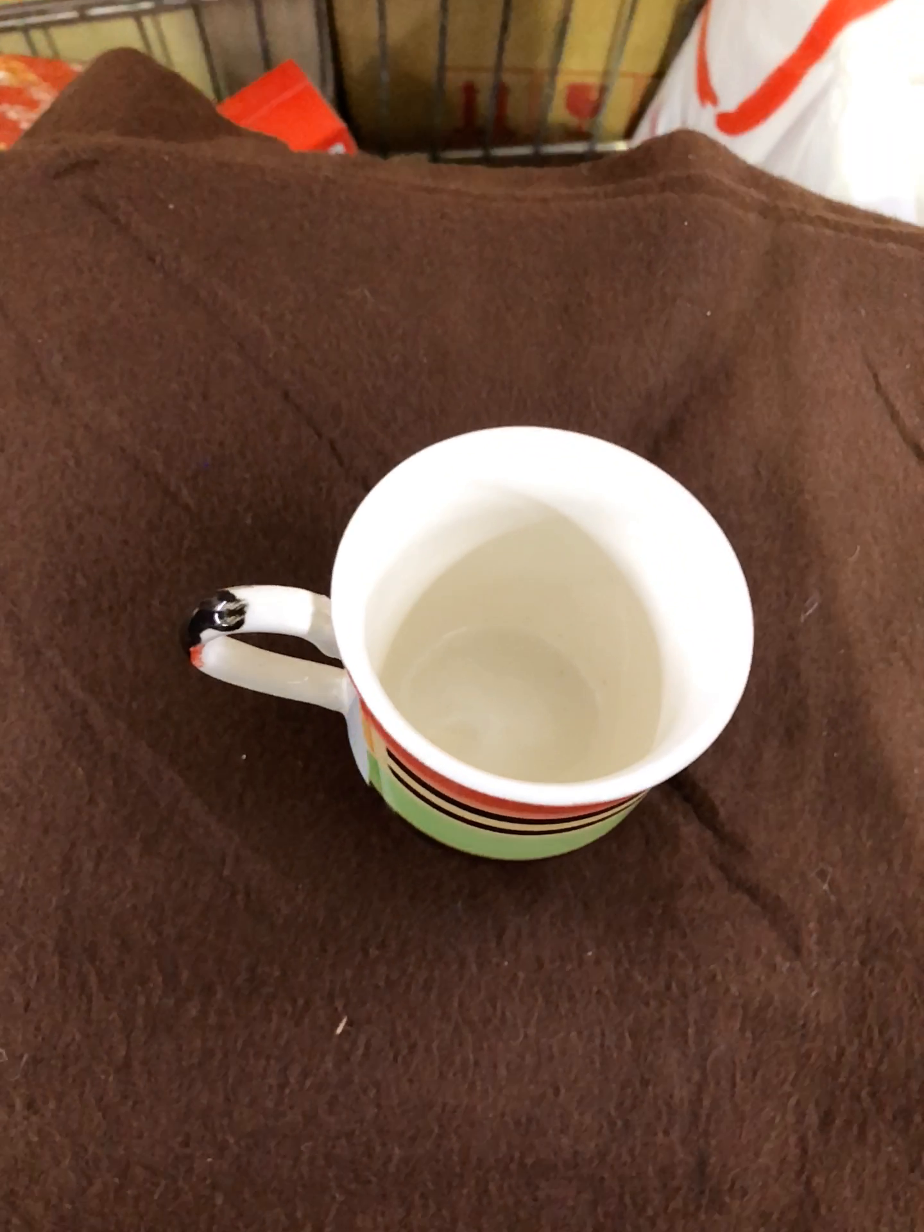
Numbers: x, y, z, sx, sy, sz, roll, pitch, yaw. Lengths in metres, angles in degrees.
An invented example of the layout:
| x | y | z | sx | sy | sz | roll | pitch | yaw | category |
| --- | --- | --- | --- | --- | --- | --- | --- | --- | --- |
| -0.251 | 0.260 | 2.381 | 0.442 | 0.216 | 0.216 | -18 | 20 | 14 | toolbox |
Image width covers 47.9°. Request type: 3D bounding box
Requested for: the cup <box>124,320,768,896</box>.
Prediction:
| x | y | z | sx | sy | sz | roll | pitch | yaw | category |
| --- | --- | --- | --- | --- | --- | --- | --- | --- | --- |
| 0.001 | 0.002 | 0.192 | 0.090 | 0.070 | 0.070 | 8 | 63 | 3 | cup |
